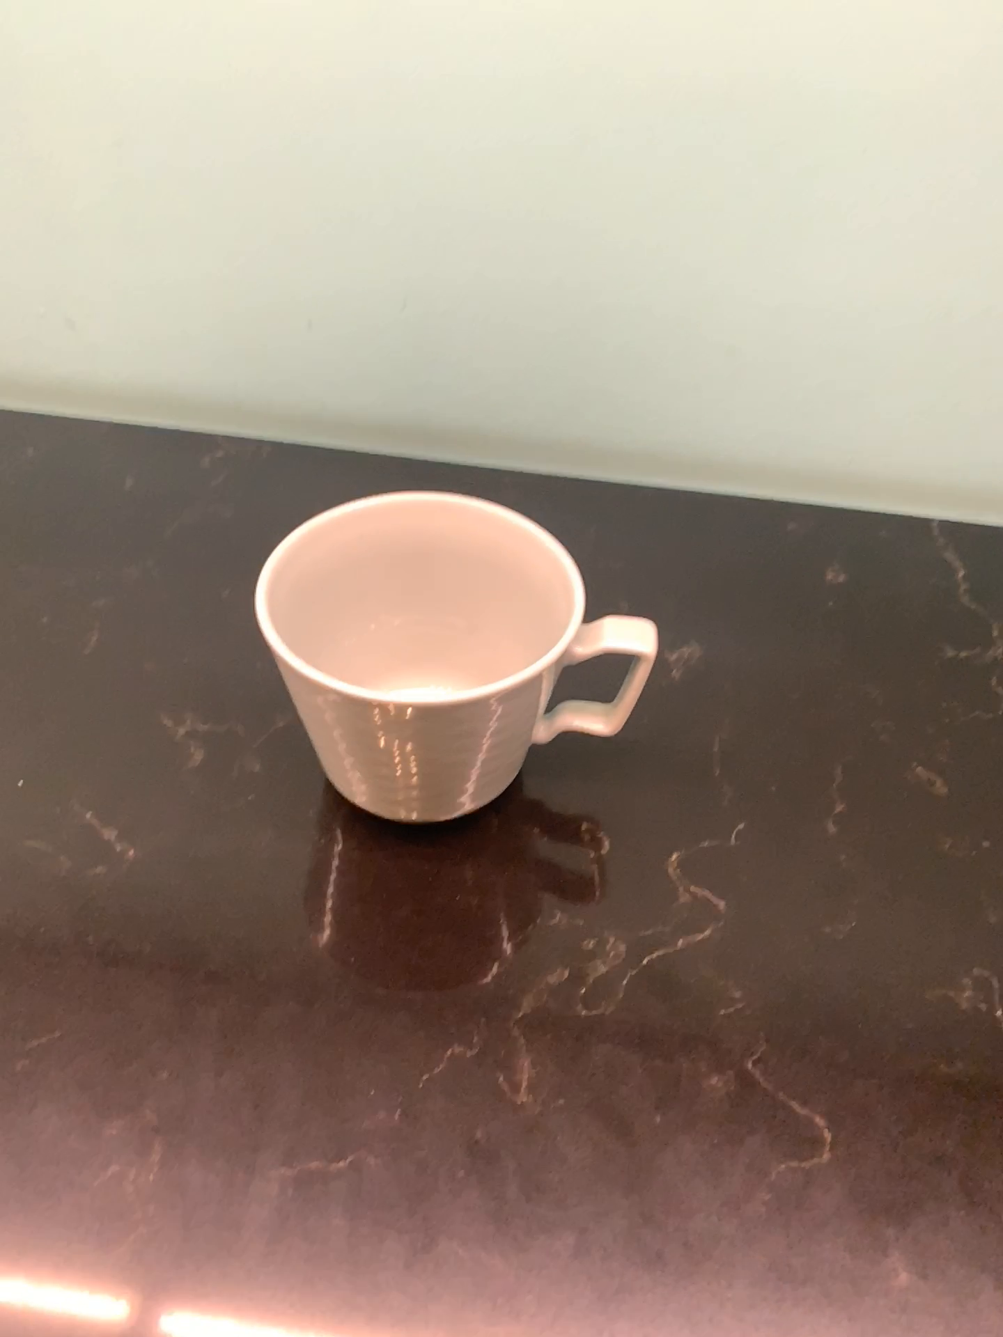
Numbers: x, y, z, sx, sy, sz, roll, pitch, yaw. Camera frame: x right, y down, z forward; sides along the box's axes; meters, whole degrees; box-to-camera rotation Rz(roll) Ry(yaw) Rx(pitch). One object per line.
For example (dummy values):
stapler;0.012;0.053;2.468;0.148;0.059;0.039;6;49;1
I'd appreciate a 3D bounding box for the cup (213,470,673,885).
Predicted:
cup;-0.013;0.001;0.357;0.130;0.080;0.100;8;45;4
